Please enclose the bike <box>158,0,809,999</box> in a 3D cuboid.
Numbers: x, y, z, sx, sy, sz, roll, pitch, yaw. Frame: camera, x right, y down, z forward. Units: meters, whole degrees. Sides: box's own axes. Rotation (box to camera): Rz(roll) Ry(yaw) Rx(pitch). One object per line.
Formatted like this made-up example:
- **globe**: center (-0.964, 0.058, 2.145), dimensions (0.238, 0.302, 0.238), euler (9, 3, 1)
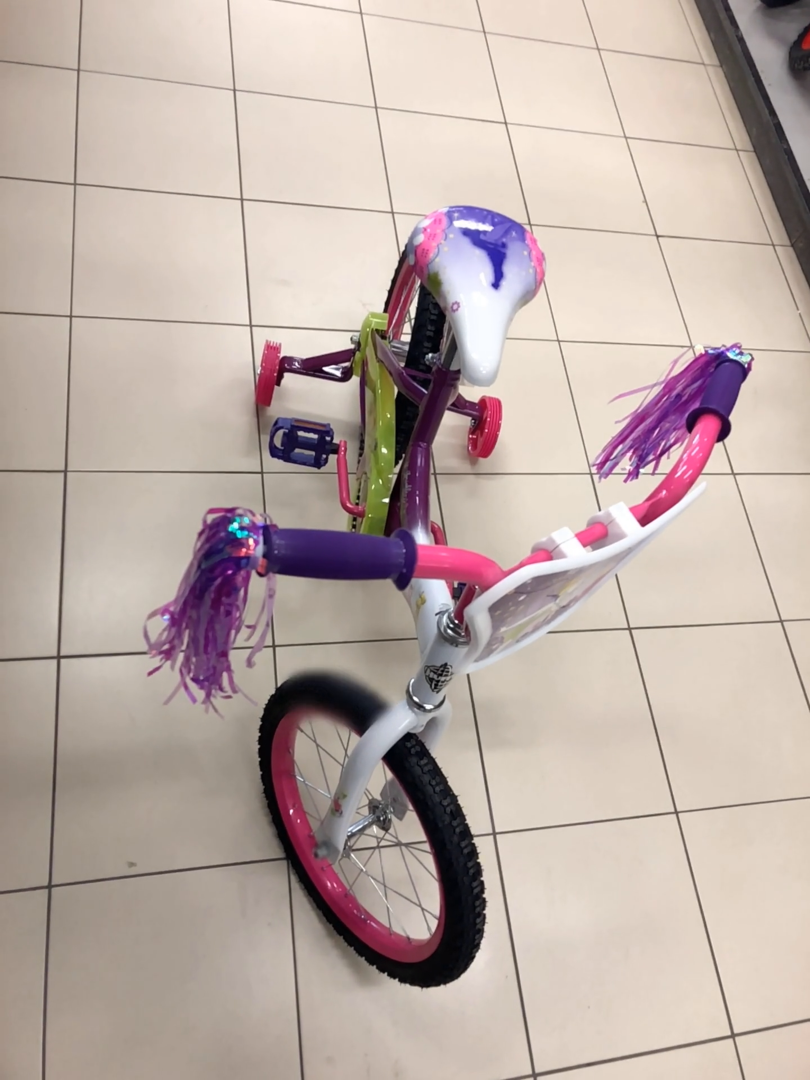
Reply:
- **bike**: center (0.065, -0.088, 1.028), dimensions (0.595, 0.811, 1.069), euler (5, 64, -14)
